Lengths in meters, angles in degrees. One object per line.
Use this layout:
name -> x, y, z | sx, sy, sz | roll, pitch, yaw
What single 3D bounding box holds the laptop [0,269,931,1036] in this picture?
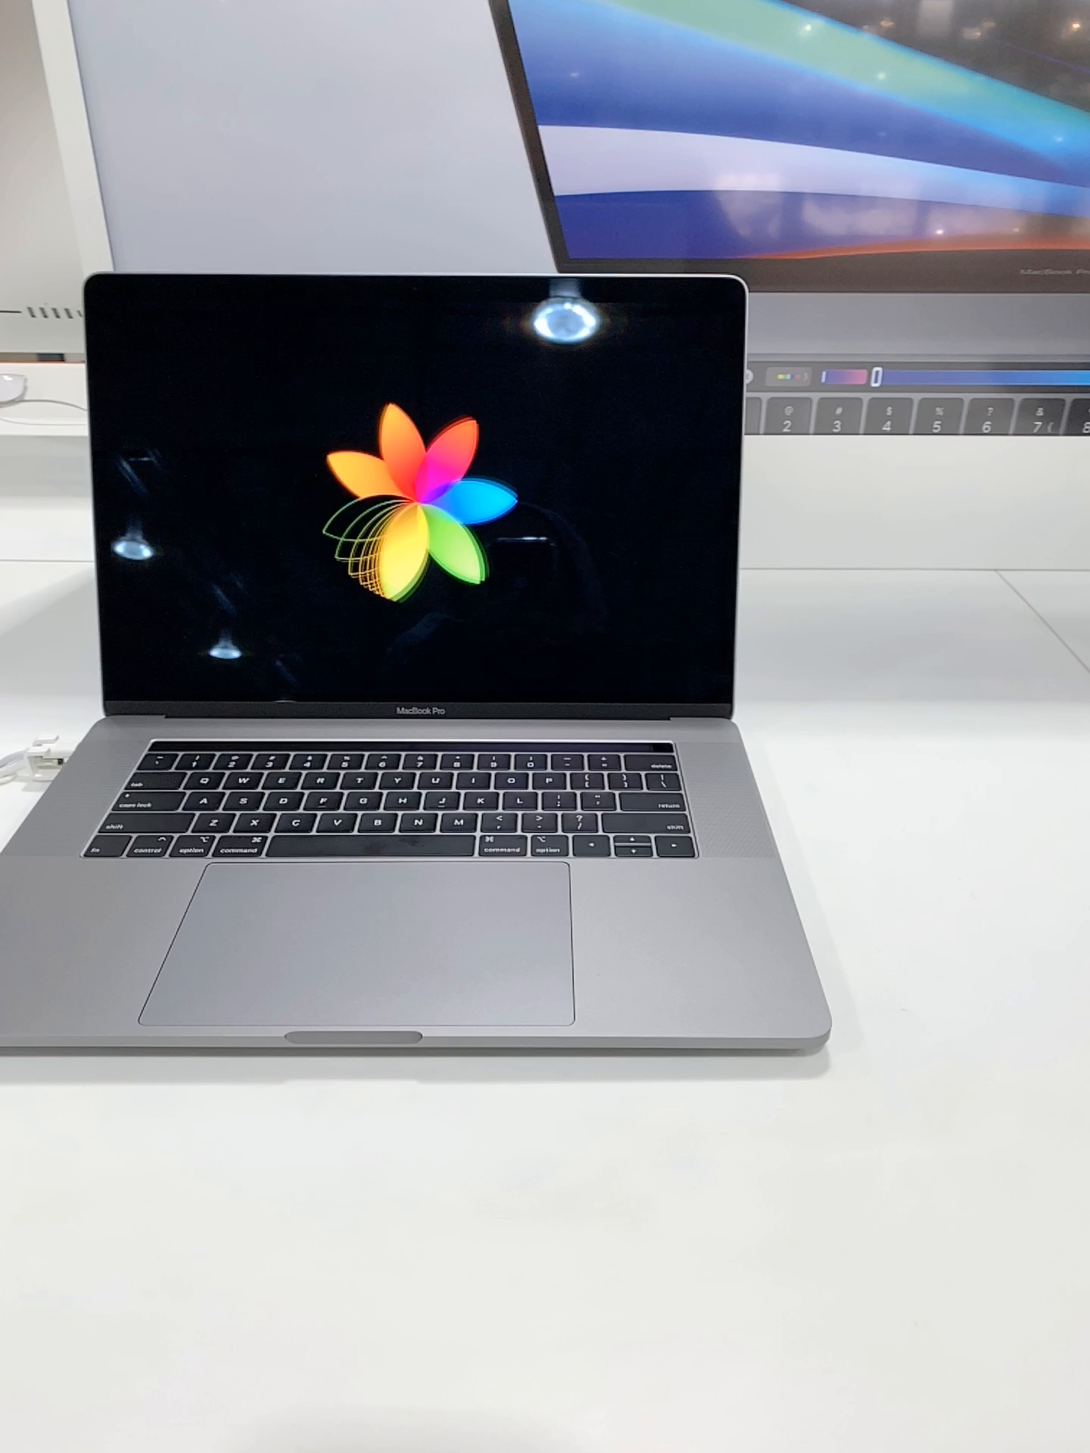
laptop -> -0.067, -0.059, 0.468 | 0.330, 0.205, 0.304 | 1, 29, -1
